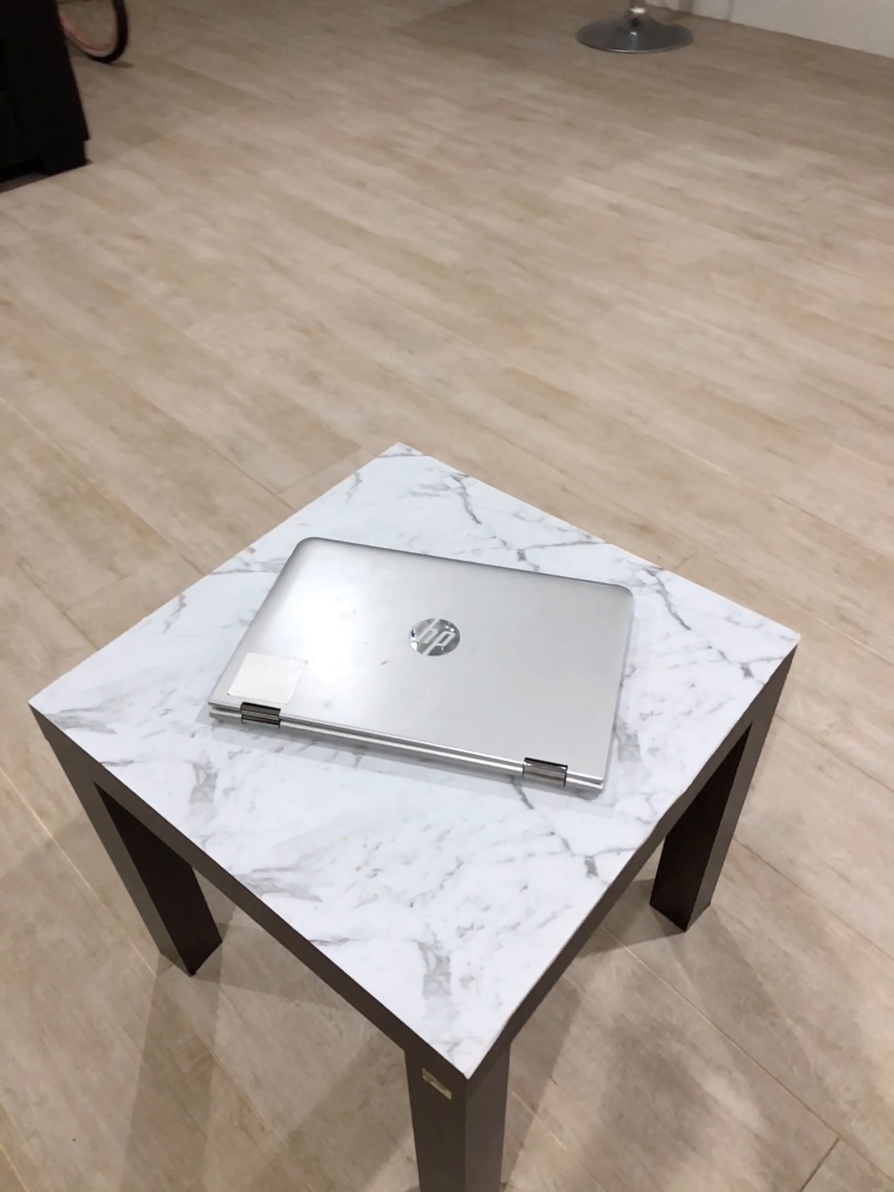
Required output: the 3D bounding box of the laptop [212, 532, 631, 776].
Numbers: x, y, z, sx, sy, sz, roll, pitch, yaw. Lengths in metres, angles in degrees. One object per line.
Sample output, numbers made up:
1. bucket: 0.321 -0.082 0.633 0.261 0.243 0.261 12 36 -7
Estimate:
1. laptop: -0.011 0.034 0.776 0.292 0.001 0.198 10 45 10
